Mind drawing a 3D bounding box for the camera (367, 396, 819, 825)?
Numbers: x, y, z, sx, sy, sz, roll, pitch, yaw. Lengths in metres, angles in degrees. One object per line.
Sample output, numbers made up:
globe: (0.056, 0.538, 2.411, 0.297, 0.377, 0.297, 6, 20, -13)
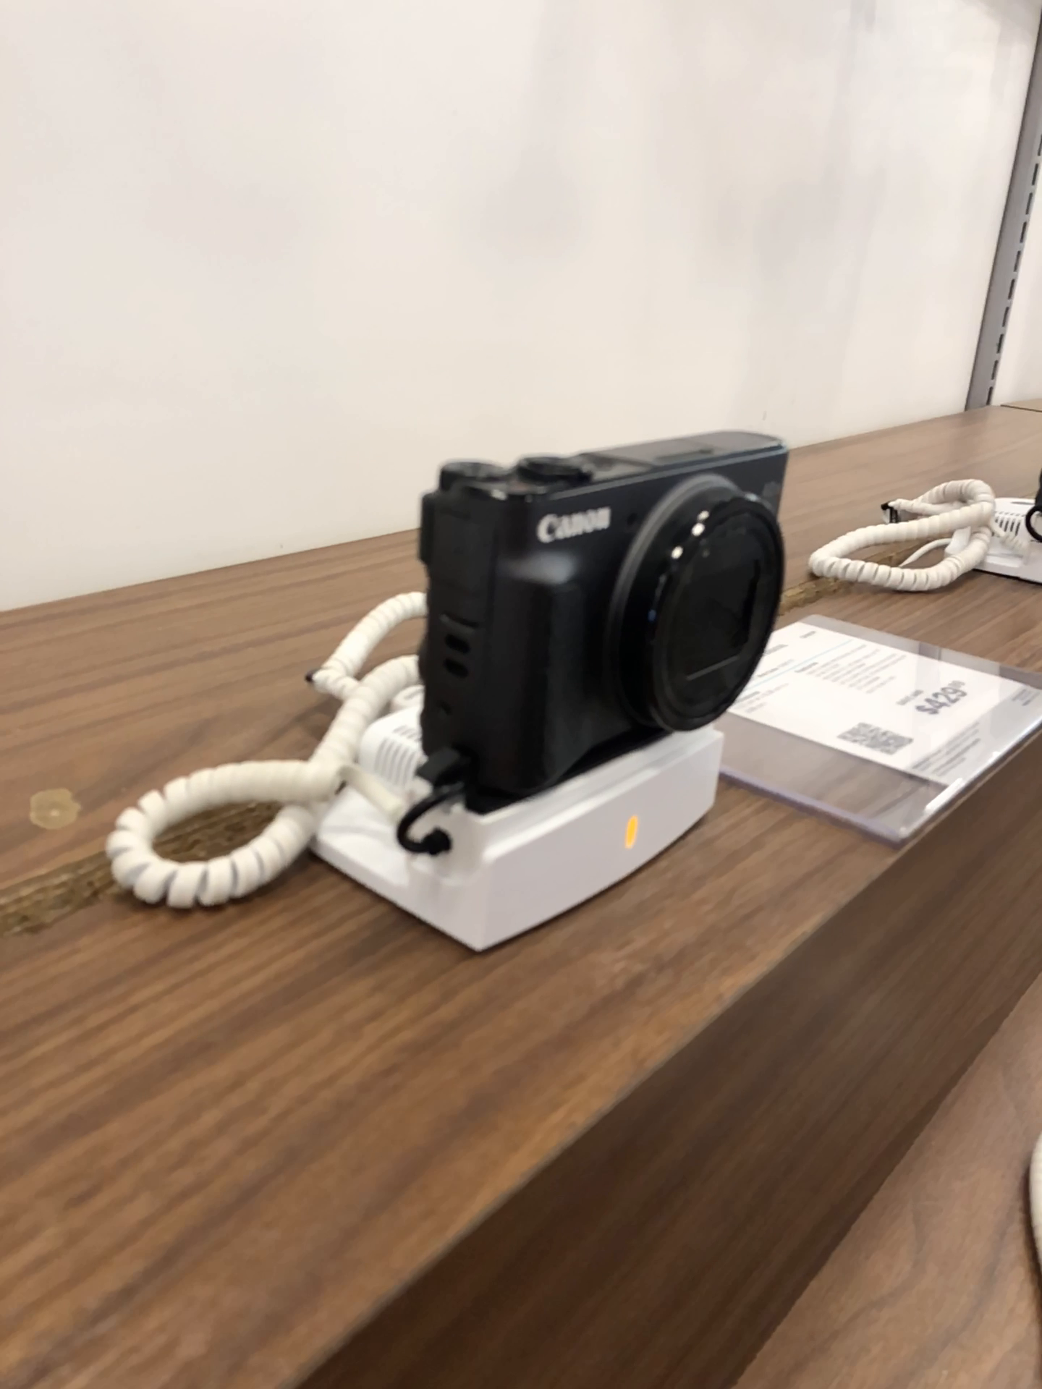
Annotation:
camera: (0.021, -0.026, 0.259, 0.030, 0.070, 0.120, 19, 26, 36)
